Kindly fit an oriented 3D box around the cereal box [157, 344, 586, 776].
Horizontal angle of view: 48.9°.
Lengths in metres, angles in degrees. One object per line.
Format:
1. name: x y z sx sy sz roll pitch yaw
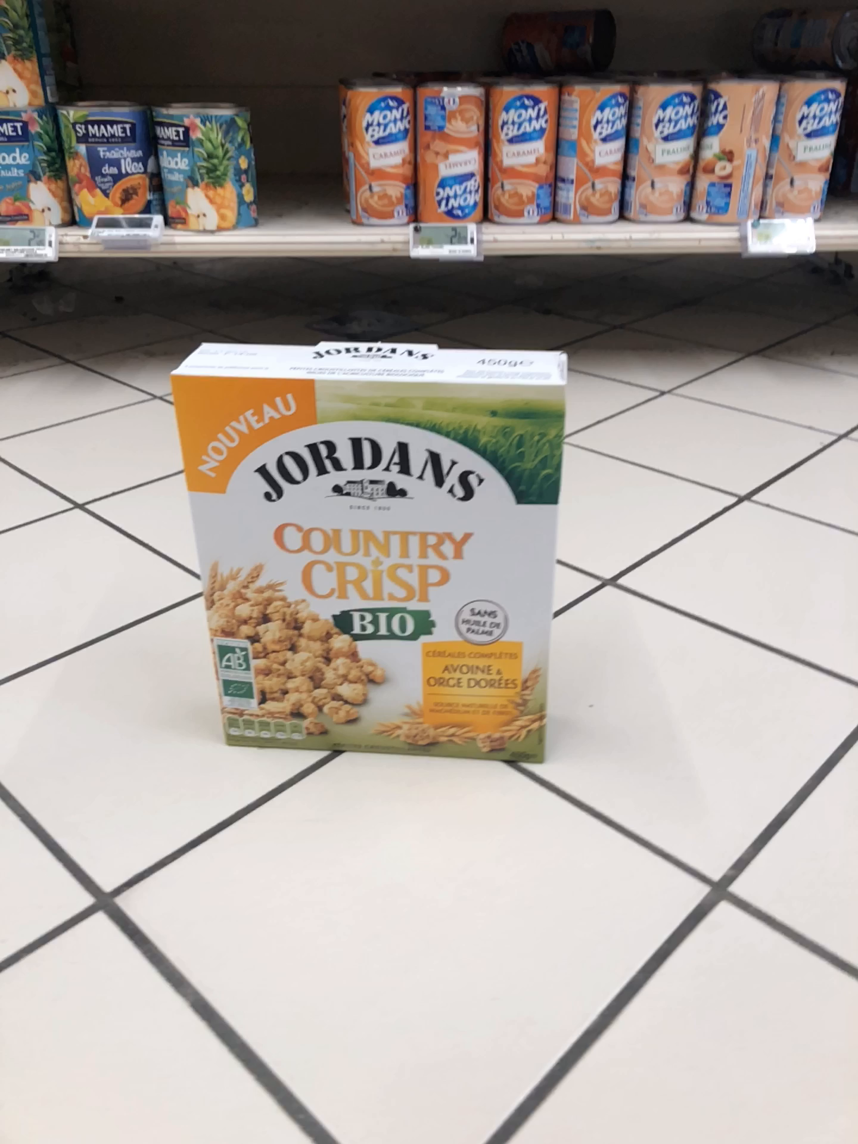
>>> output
1. cereal box: -0.023 -0.003 0.487 0.190 0.209 0.060 3 28 6
